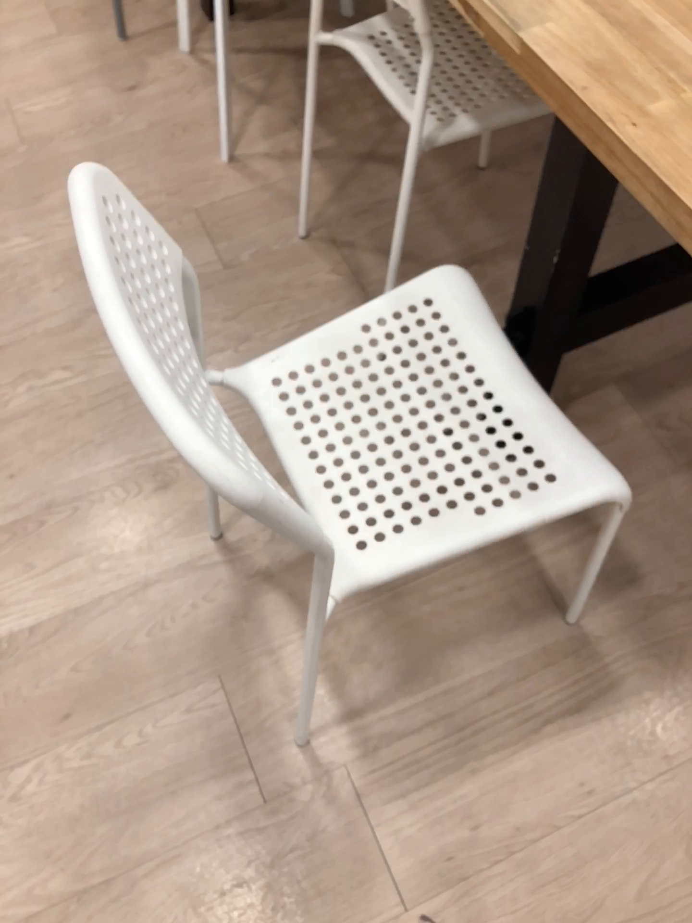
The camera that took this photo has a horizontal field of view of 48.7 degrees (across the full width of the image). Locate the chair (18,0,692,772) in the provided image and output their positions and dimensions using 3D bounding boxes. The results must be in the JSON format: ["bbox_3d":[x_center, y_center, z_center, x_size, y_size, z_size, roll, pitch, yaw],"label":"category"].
[{"bbox_3d":[0.037,-0.009,0.858,0.450,0.697,0.422,-21,61,-10],"label":"chair"}]
